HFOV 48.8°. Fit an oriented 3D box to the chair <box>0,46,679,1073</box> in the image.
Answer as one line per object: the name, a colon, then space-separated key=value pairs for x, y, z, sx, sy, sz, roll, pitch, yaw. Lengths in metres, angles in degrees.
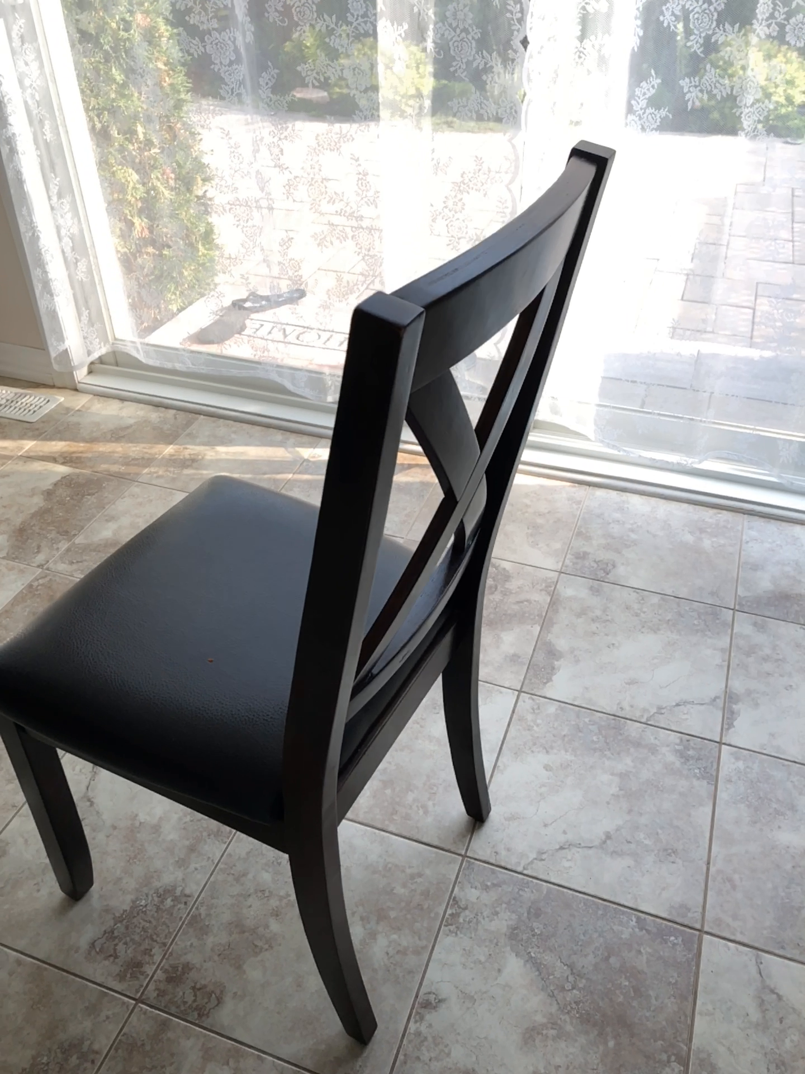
chair: x=-0.149 y=0.057 z=0.961 sx=0.601 sy=0.936 sz=0.481 roll=19 pitch=42 yaw=24
